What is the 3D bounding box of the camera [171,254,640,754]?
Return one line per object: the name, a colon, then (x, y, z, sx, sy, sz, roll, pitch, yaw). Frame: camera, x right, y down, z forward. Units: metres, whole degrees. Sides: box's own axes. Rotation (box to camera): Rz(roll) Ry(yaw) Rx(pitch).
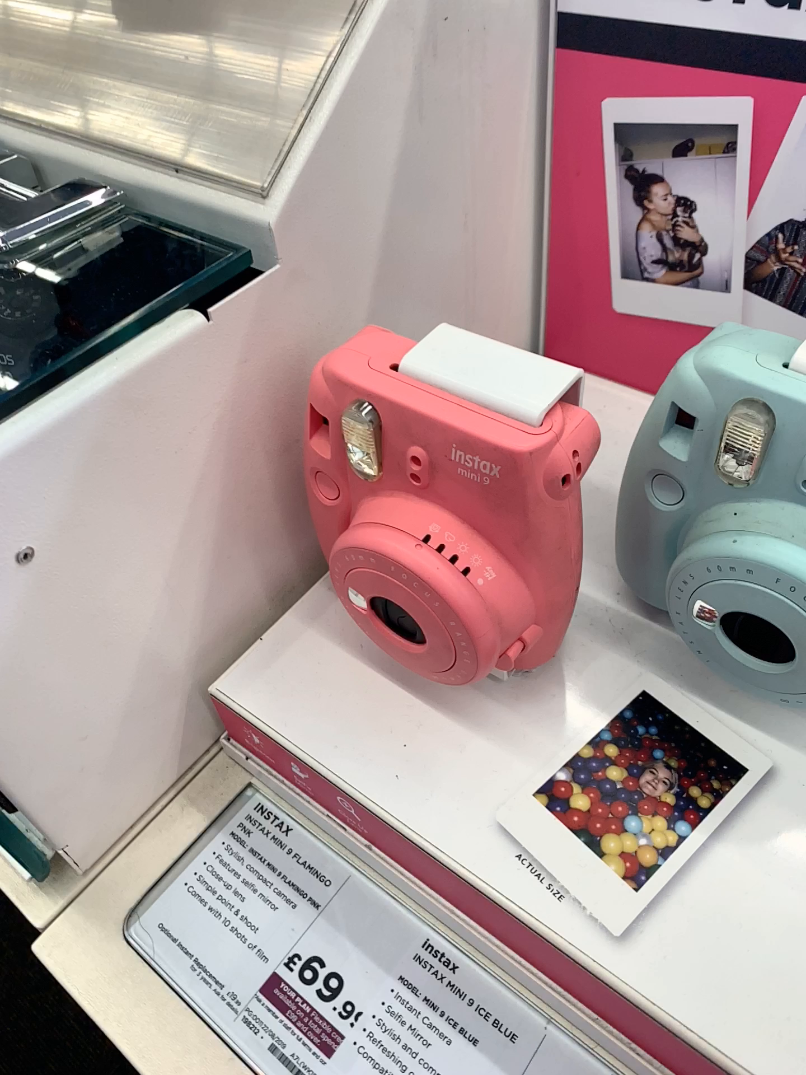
camera: (0.004, -0.014, 0.297, 0.121, 0.119, 0.080, 27, 56, 28)
